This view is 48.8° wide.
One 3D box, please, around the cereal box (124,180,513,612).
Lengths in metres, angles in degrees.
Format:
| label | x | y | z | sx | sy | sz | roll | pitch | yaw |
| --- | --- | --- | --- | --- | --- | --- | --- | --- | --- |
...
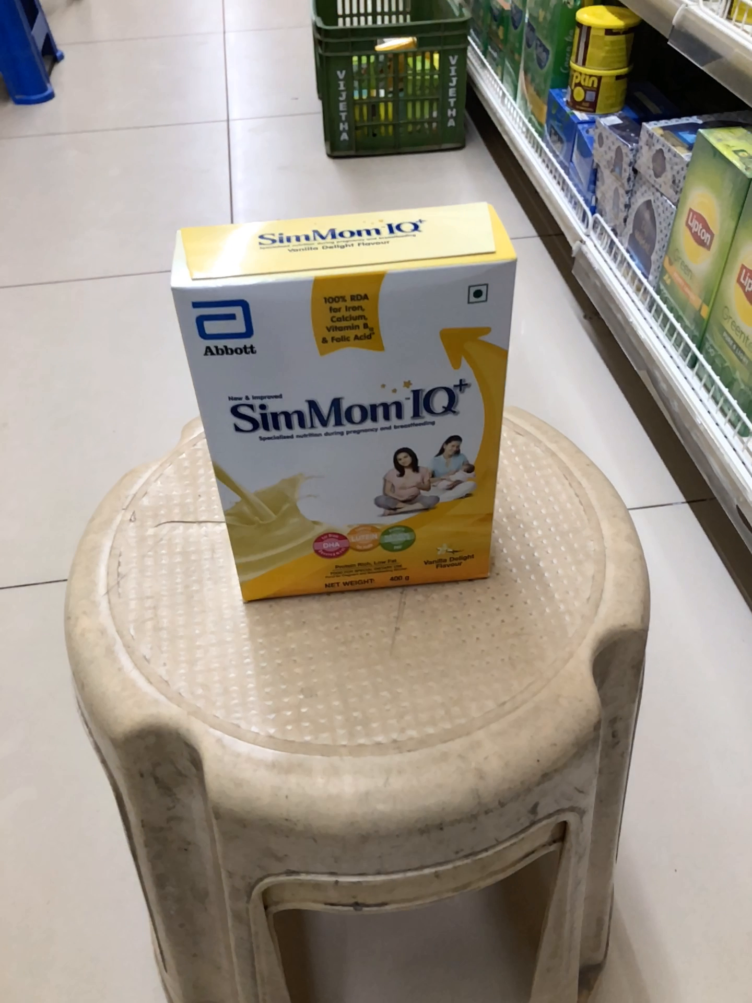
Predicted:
| label | x | y | z | sx | sy | sz | roll | pitch | yaw |
| --- | --- | --- | --- | --- | --- | --- | --- | --- | --- |
| cereal box | -0.019 | -0.036 | 0.385 | 0.140 | 0.199 | 0.050 | -5 | 45 | -3 |
